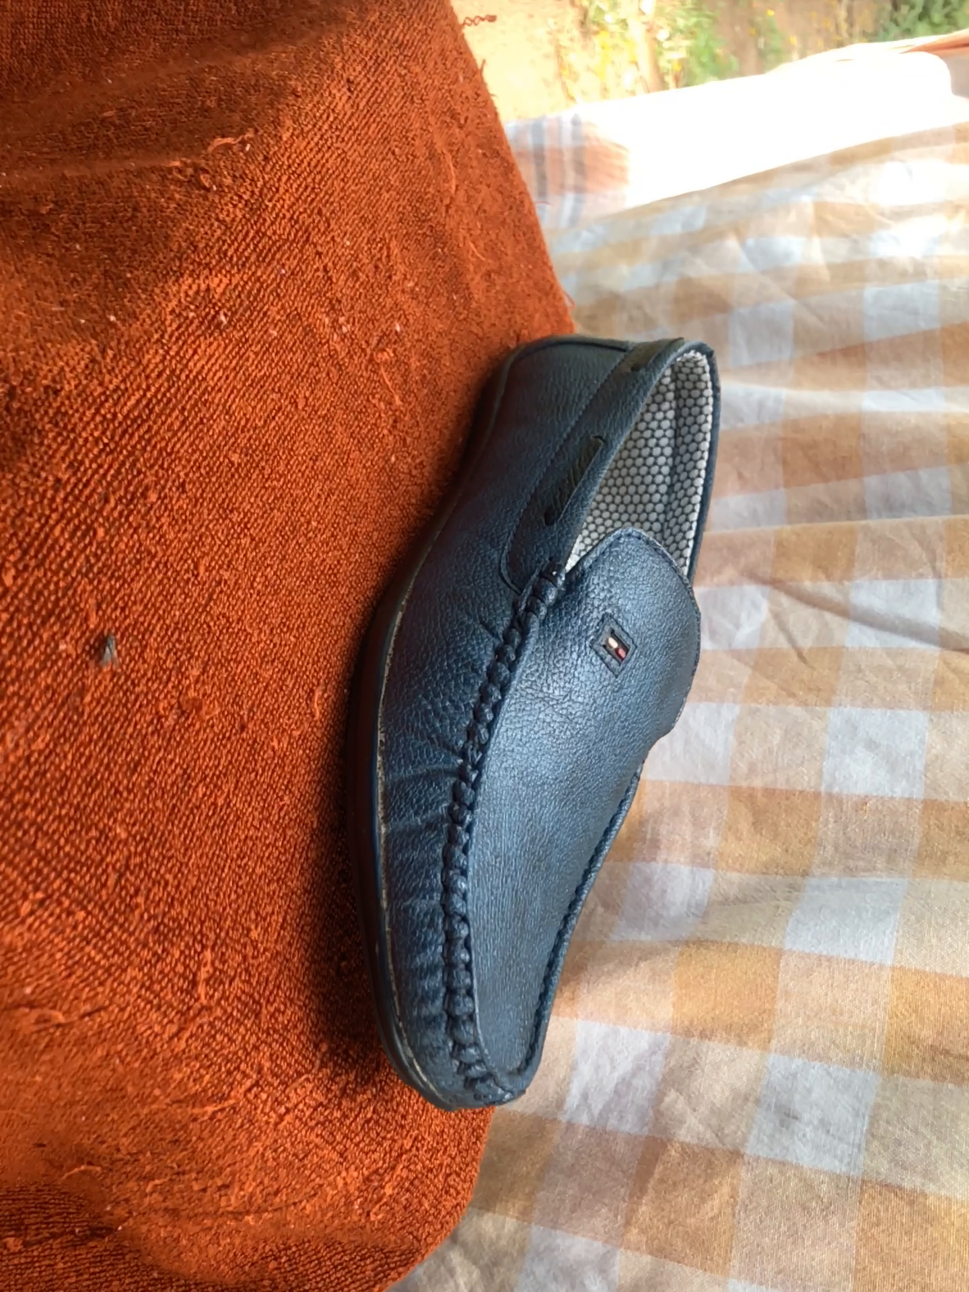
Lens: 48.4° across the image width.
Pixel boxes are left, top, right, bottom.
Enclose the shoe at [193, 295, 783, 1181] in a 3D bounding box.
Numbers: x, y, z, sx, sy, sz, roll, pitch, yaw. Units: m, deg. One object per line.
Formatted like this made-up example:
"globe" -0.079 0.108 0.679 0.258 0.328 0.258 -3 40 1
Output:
"shoe" 0.027 0.010 0.344 0.100 0.089 0.261 63 36 -40
